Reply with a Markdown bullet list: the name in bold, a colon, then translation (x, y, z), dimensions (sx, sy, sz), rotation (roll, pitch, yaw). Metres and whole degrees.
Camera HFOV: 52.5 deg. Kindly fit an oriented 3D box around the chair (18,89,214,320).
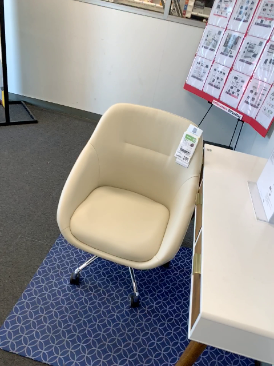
- **chair**: translation (-0.065, 0.063, 1.395), dimensions (0.670, 0.736, 0.694), rotation (15, 34, 5)
